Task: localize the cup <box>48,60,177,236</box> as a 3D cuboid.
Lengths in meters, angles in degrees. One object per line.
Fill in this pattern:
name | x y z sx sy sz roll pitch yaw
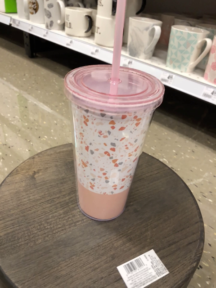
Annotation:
cup | 0.002 0.002 0.269 0.090 0.149 0.090 4 35 -3
